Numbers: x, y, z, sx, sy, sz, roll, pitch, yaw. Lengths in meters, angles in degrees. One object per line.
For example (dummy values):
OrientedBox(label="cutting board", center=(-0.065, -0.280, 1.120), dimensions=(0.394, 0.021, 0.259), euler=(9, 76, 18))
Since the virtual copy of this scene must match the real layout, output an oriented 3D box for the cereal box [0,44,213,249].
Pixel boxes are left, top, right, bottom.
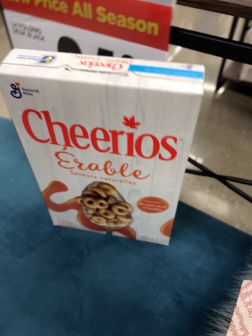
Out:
OrientedBox(label="cereal box", center=(-0.025, -0.004, 0.365), dimensions=(0.210, 0.269, 0.060), euler=(8, 49, 8))
